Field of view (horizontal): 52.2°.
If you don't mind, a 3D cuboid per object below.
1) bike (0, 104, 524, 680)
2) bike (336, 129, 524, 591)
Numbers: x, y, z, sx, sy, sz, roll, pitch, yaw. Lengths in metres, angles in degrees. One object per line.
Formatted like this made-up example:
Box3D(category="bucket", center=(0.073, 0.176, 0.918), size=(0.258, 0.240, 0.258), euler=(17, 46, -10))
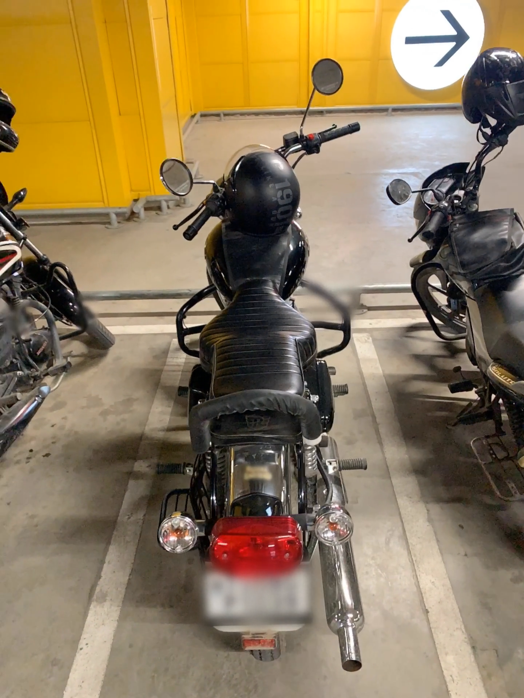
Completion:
Box3D(category="bike", center=(-0.128, -0.120, 1.806), size=(0.763, 1.050, 1.834), euler=(-5, 32, -5))
Box3D(category="bike", center=(0.731, -0.185, 1.949), size=(0.598, 0.924, 1.728), euler=(-3, 30, -2))
